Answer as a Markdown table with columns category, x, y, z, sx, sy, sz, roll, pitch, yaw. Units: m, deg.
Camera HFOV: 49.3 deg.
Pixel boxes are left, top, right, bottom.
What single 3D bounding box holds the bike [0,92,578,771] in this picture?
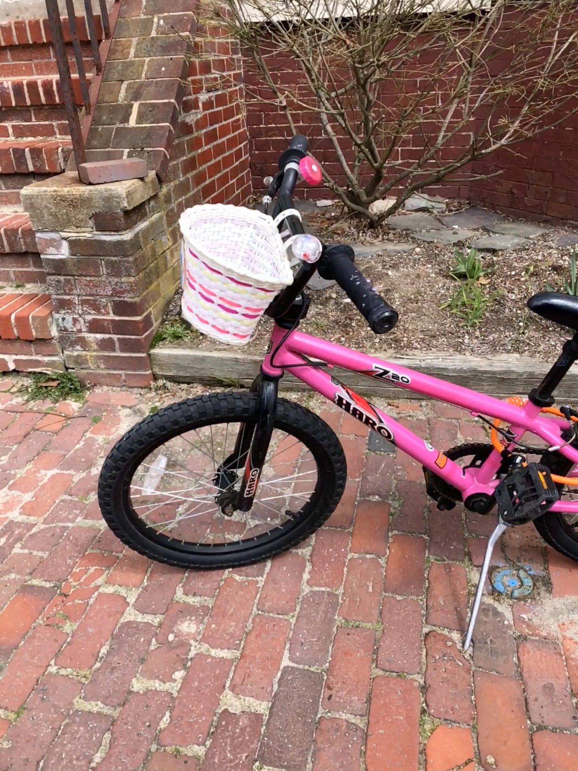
| category | x | y | z | sx | sy | sz | roll | pitch | yaw |
| --- | --- | --- | --- | --- | --- | --- | --- | --- | --- |
| bike | 0.290 | 0.069 | 1.016 | 1.337 | 0.906 | 0.715 | 0 | 28 | 0 |
